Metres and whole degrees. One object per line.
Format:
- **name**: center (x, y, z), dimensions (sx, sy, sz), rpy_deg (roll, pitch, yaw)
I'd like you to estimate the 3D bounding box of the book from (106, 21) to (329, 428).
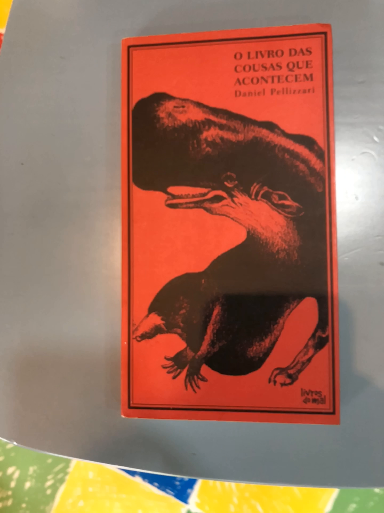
- **book**: center (0.011, -0.017, 0.227), dimensions (0.110, 0.016, 0.200), rpy_deg (-1, 87, 7)
